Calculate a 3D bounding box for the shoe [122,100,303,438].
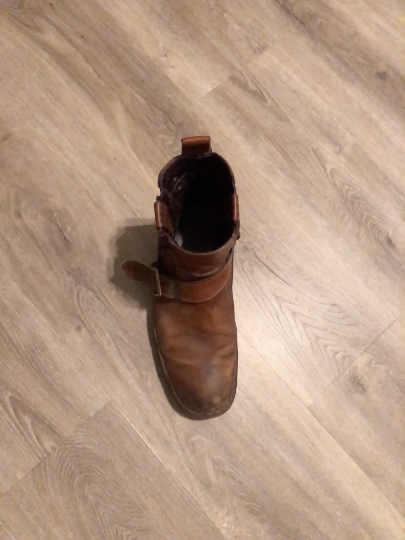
[{"bbox_3d":[-0.006,0.009,0.484,0.130,0.210,0.290,-3,76,-6],"label":"shoe"}]
